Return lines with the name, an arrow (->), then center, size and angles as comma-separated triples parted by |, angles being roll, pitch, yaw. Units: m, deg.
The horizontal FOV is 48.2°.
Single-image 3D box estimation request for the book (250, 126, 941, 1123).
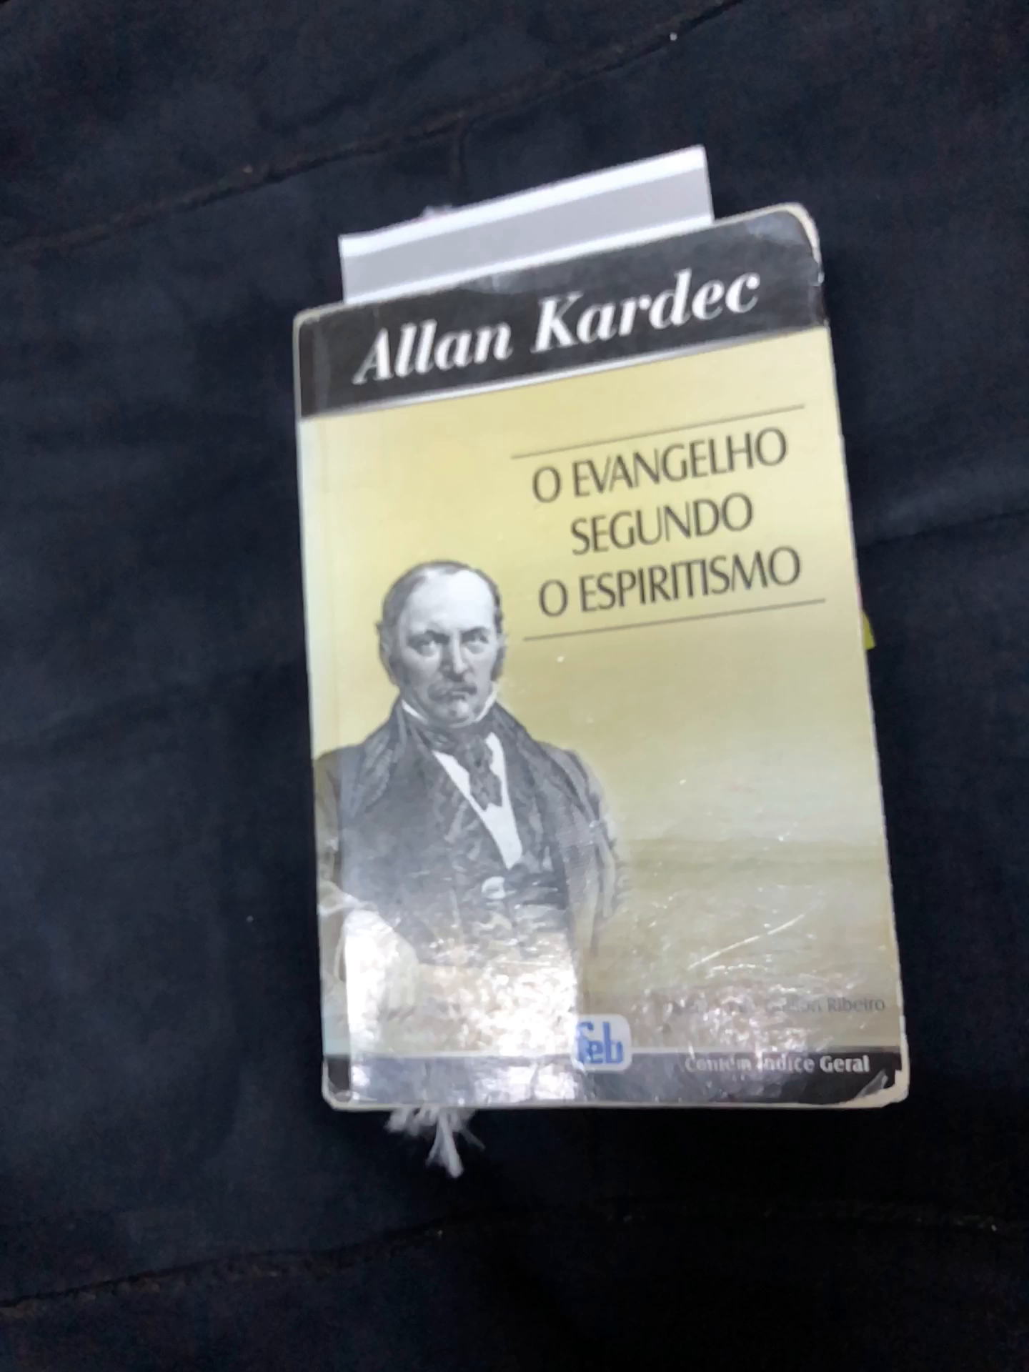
book -> 0.015, -0.009, 0.296 | 0.150, 0.050, 0.220 | -8, 80, 19
